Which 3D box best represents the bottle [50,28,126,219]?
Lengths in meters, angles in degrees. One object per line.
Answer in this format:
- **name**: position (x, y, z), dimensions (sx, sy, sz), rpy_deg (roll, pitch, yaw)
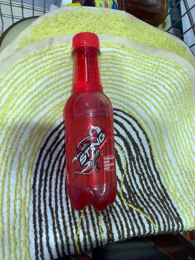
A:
- **bottle**: position (-0.012, -0.008, 0.206), dimensions (0.060, 0.040, 0.170), rpy_deg (-3, 88, -15)
